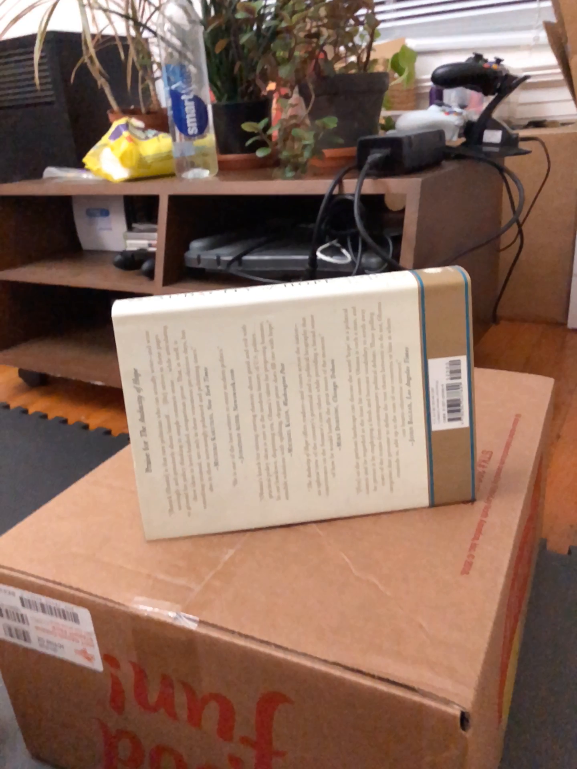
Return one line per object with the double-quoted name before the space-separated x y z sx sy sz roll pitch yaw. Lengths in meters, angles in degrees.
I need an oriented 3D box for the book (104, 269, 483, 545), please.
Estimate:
"book" 0.009 0.011 0.466 0.250 0.170 0.060 -5 11 -5
